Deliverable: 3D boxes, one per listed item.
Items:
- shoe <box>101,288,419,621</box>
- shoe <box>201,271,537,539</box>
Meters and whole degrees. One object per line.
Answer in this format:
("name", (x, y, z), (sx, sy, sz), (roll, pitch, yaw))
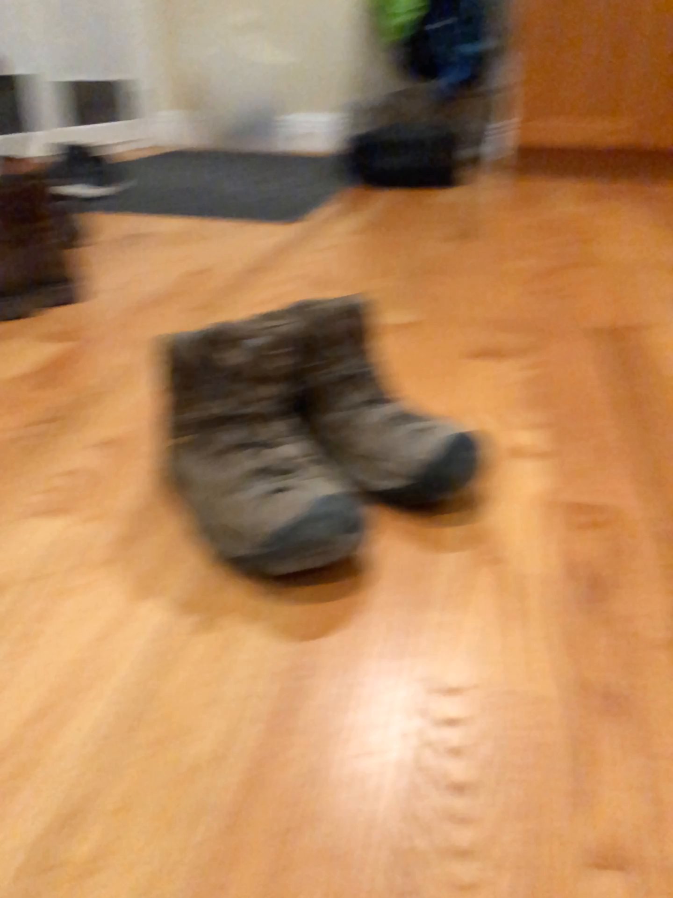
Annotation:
("shoe", (-0.069, -0.017, 0.552), (0.108, 0.139, 0.260), (-17, 31, -32))
("shoe", (0.017, -0.052, 0.627), (0.260, 0.139, 0.108), (21, 32, 35))
